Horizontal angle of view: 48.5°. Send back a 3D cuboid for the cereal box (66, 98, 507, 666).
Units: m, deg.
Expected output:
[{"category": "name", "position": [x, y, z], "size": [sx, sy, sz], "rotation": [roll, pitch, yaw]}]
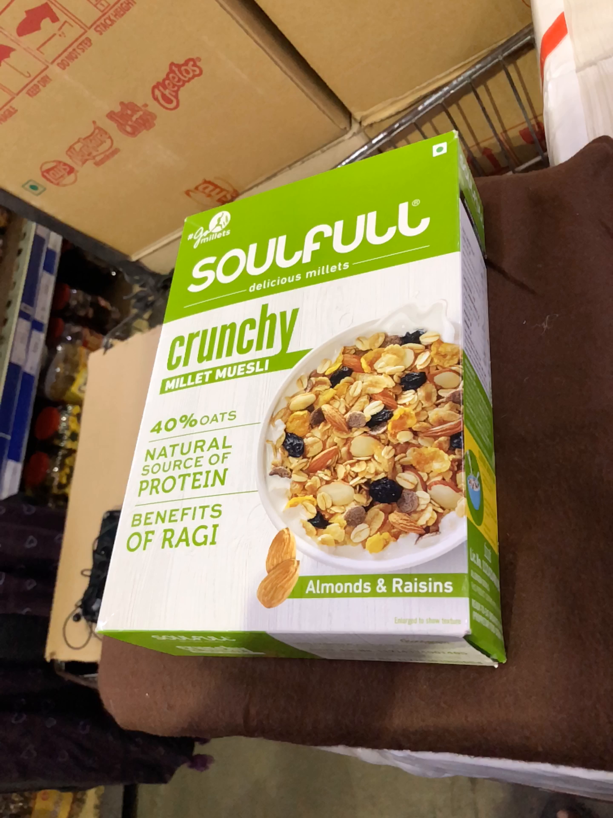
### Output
[{"category": "cereal box", "position": [-0.001, -0.013, 0.318], "size": [0.160, 0.060, 0.241], "rotation": [-11, 56, 28]}]
